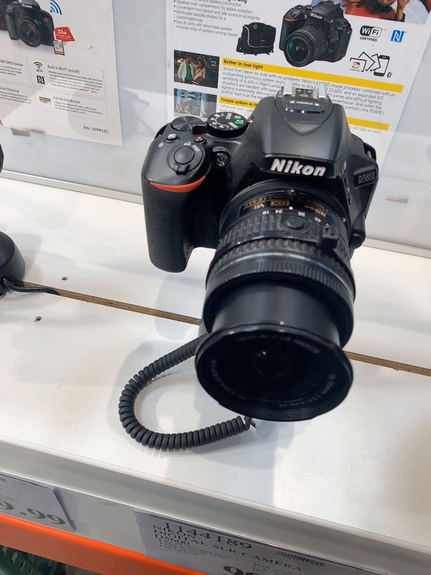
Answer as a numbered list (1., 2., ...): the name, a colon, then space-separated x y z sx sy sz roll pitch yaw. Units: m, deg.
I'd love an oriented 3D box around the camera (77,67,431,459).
1. camera: 0.026 -0.021 0.199 0.111 0.090 0.141 9 45 5
